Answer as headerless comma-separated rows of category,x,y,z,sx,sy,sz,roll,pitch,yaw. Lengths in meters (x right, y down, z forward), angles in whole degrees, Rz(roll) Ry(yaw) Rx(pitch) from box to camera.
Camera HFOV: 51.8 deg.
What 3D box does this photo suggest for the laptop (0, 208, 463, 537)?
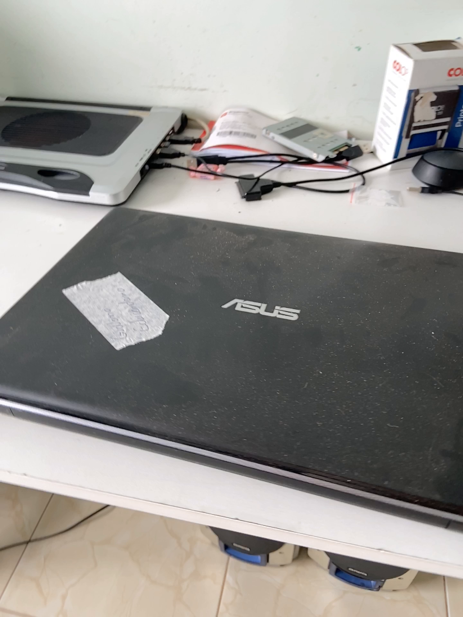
laptop,0.018,0.005,0.380,0.385,0.007,0.252,10,42,14
